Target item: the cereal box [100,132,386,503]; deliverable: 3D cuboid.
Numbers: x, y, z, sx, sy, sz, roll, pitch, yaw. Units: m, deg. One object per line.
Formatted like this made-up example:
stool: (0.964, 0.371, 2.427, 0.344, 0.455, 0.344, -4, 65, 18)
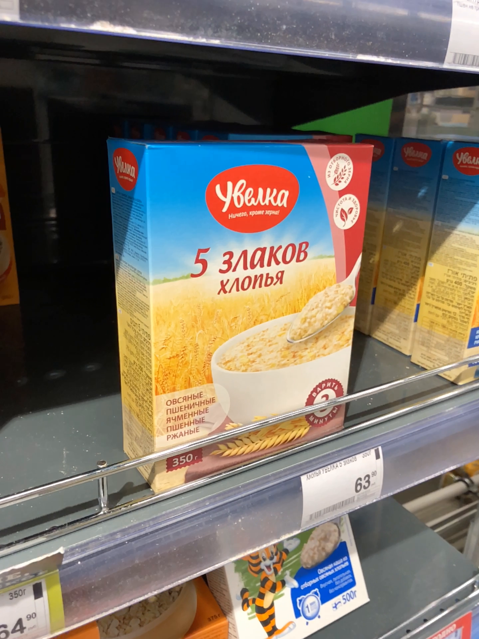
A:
cereal box: (0.004, -0.009, 0.316, 0.150, 0.189, 0.050, -10, 23, -31)
